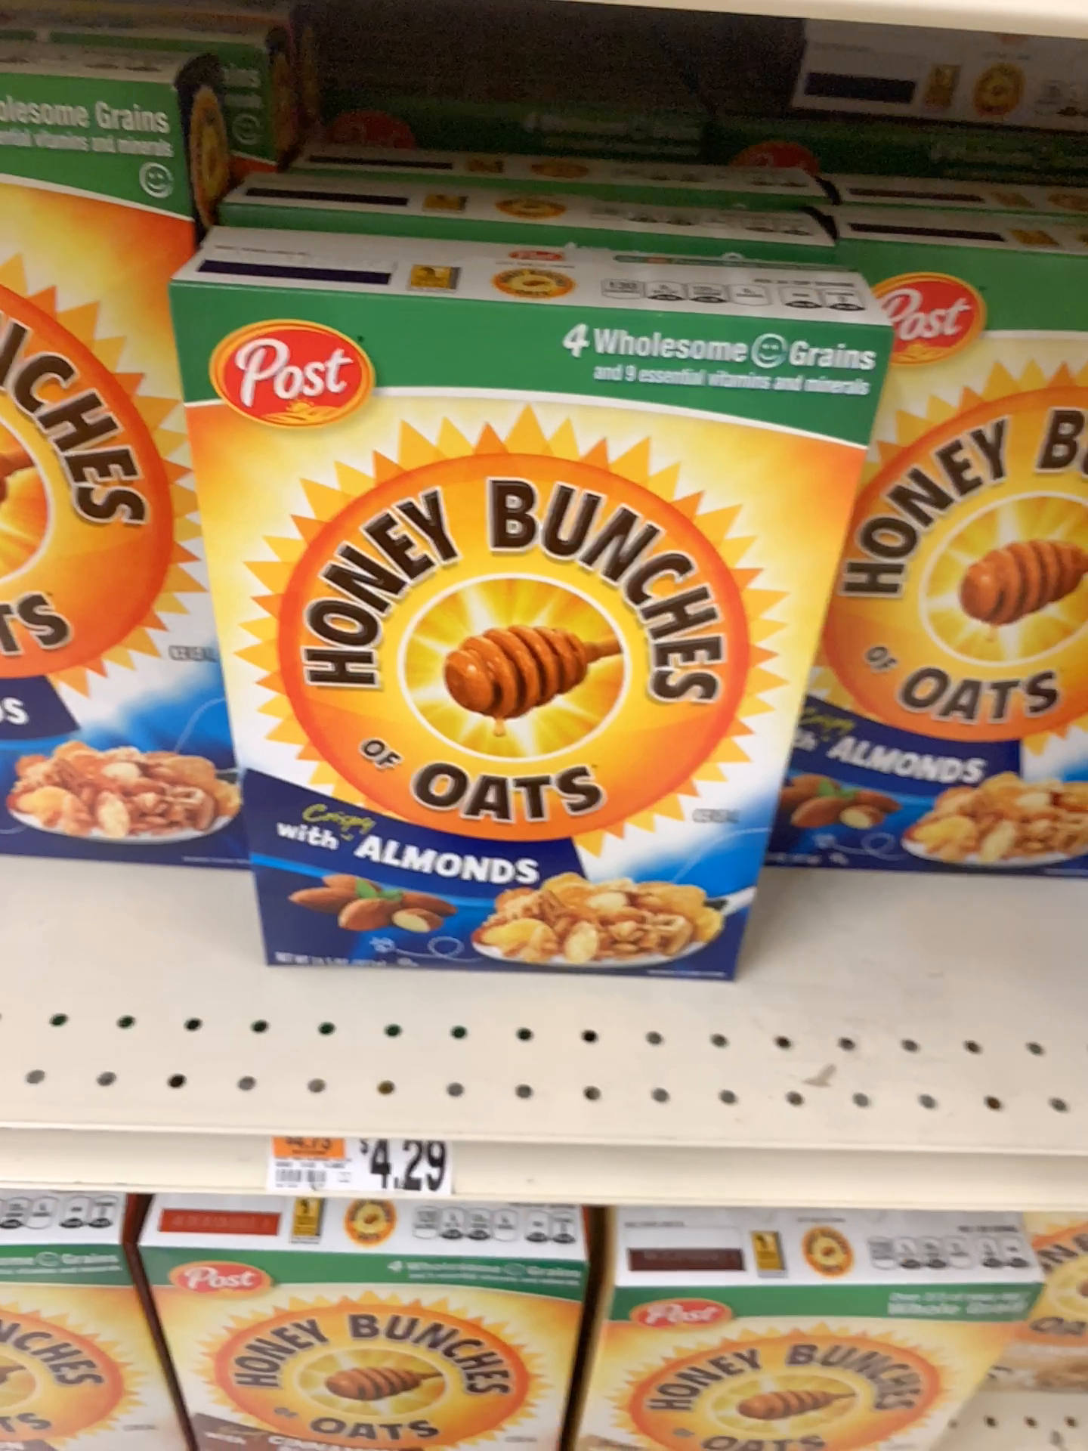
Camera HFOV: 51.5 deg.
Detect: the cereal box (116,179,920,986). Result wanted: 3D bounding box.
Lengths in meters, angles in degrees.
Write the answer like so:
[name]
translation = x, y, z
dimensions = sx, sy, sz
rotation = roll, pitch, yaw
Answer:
[cereal box]
translation = -0.013, -0.025, 0.392
dimensions = 0.200, 0.278, 0.060
rotation = 3, 39, -2
